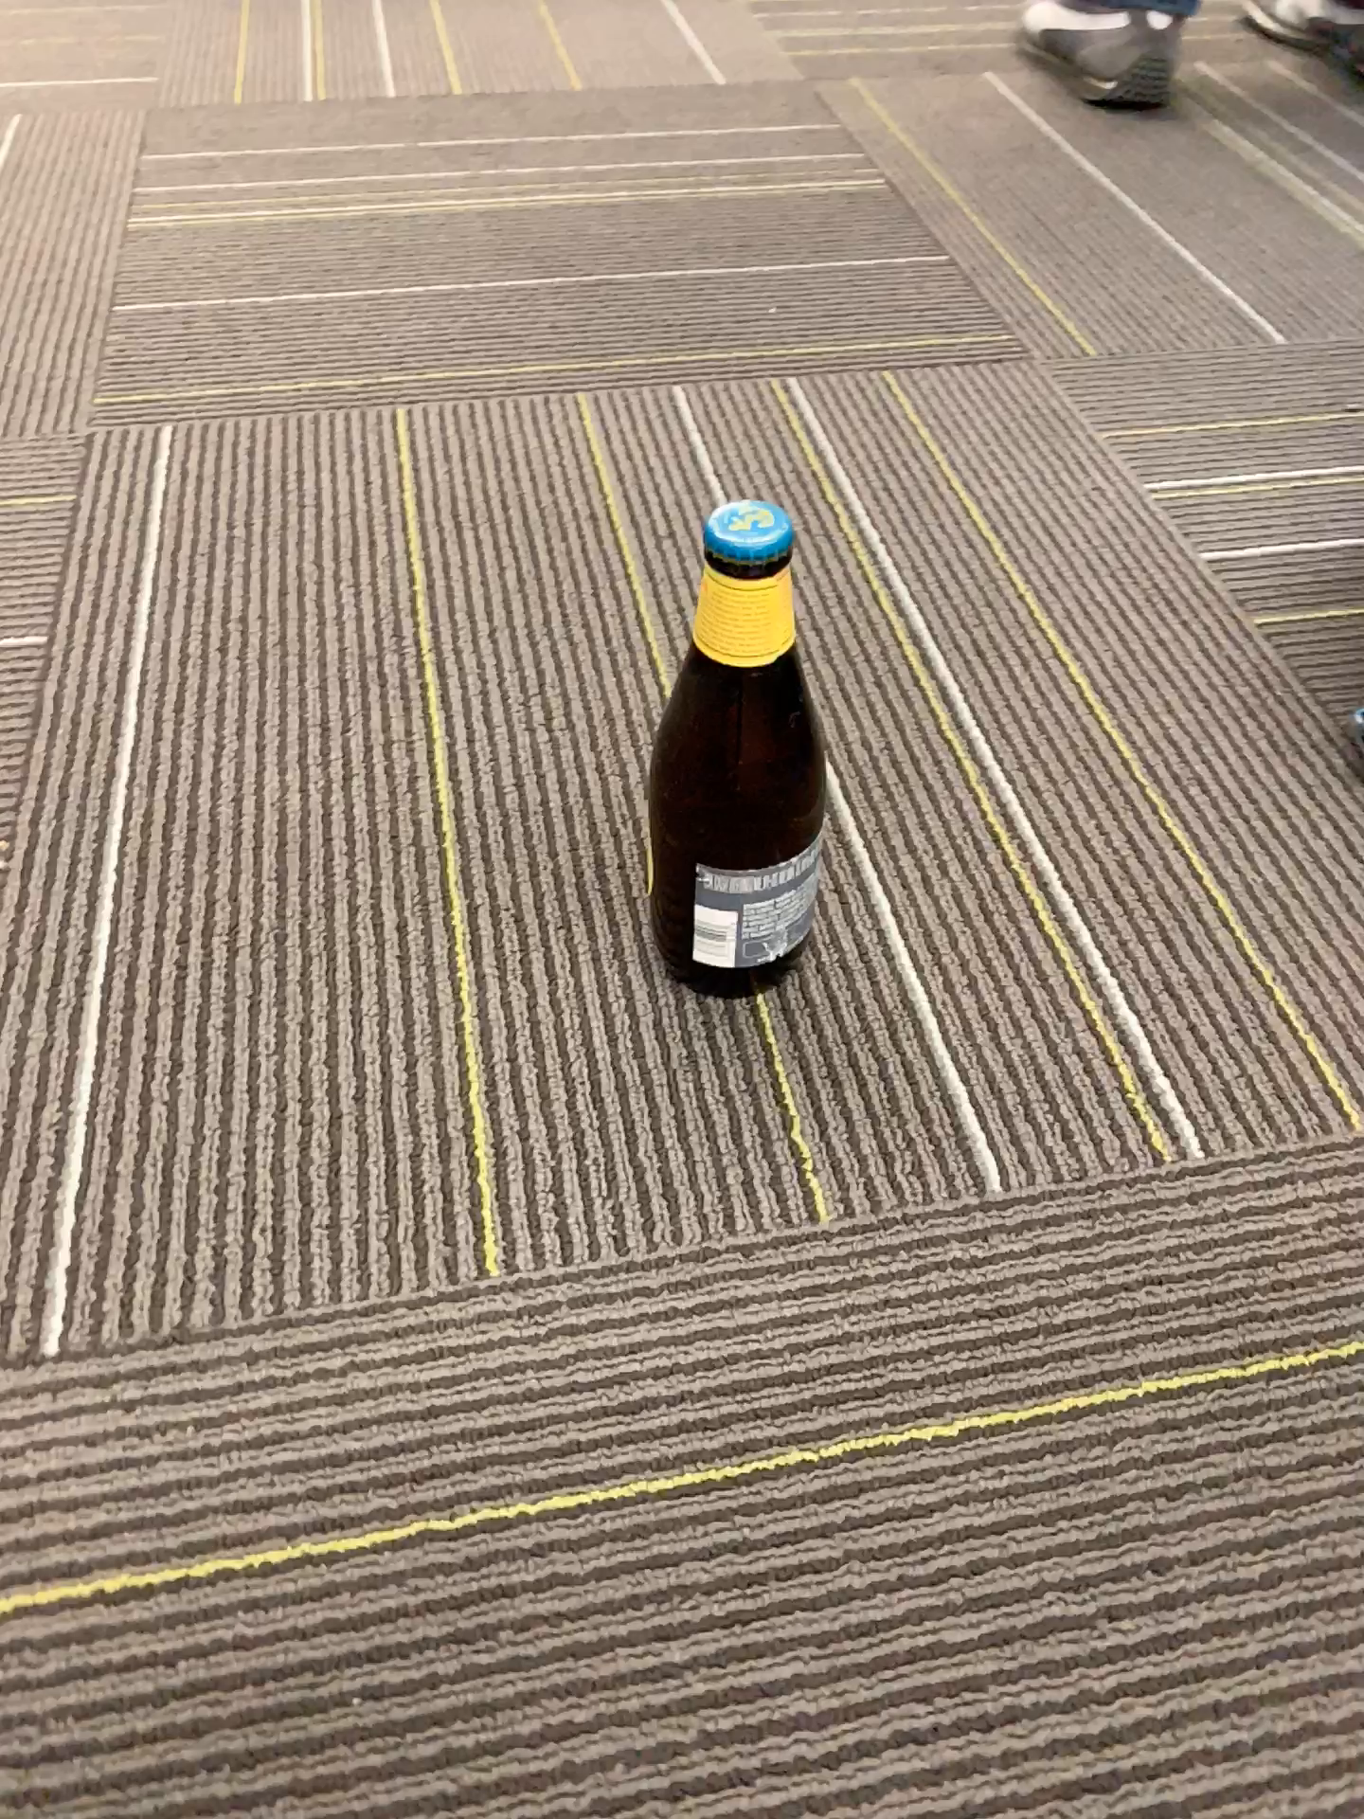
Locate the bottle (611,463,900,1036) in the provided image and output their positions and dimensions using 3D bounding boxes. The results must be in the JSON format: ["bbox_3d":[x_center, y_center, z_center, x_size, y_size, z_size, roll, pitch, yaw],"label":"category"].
[{"bbox_3d":[0.020,-0.047,0.473,0.060,0.179,0.060,1,46,-1],"label":"bottle"}]
